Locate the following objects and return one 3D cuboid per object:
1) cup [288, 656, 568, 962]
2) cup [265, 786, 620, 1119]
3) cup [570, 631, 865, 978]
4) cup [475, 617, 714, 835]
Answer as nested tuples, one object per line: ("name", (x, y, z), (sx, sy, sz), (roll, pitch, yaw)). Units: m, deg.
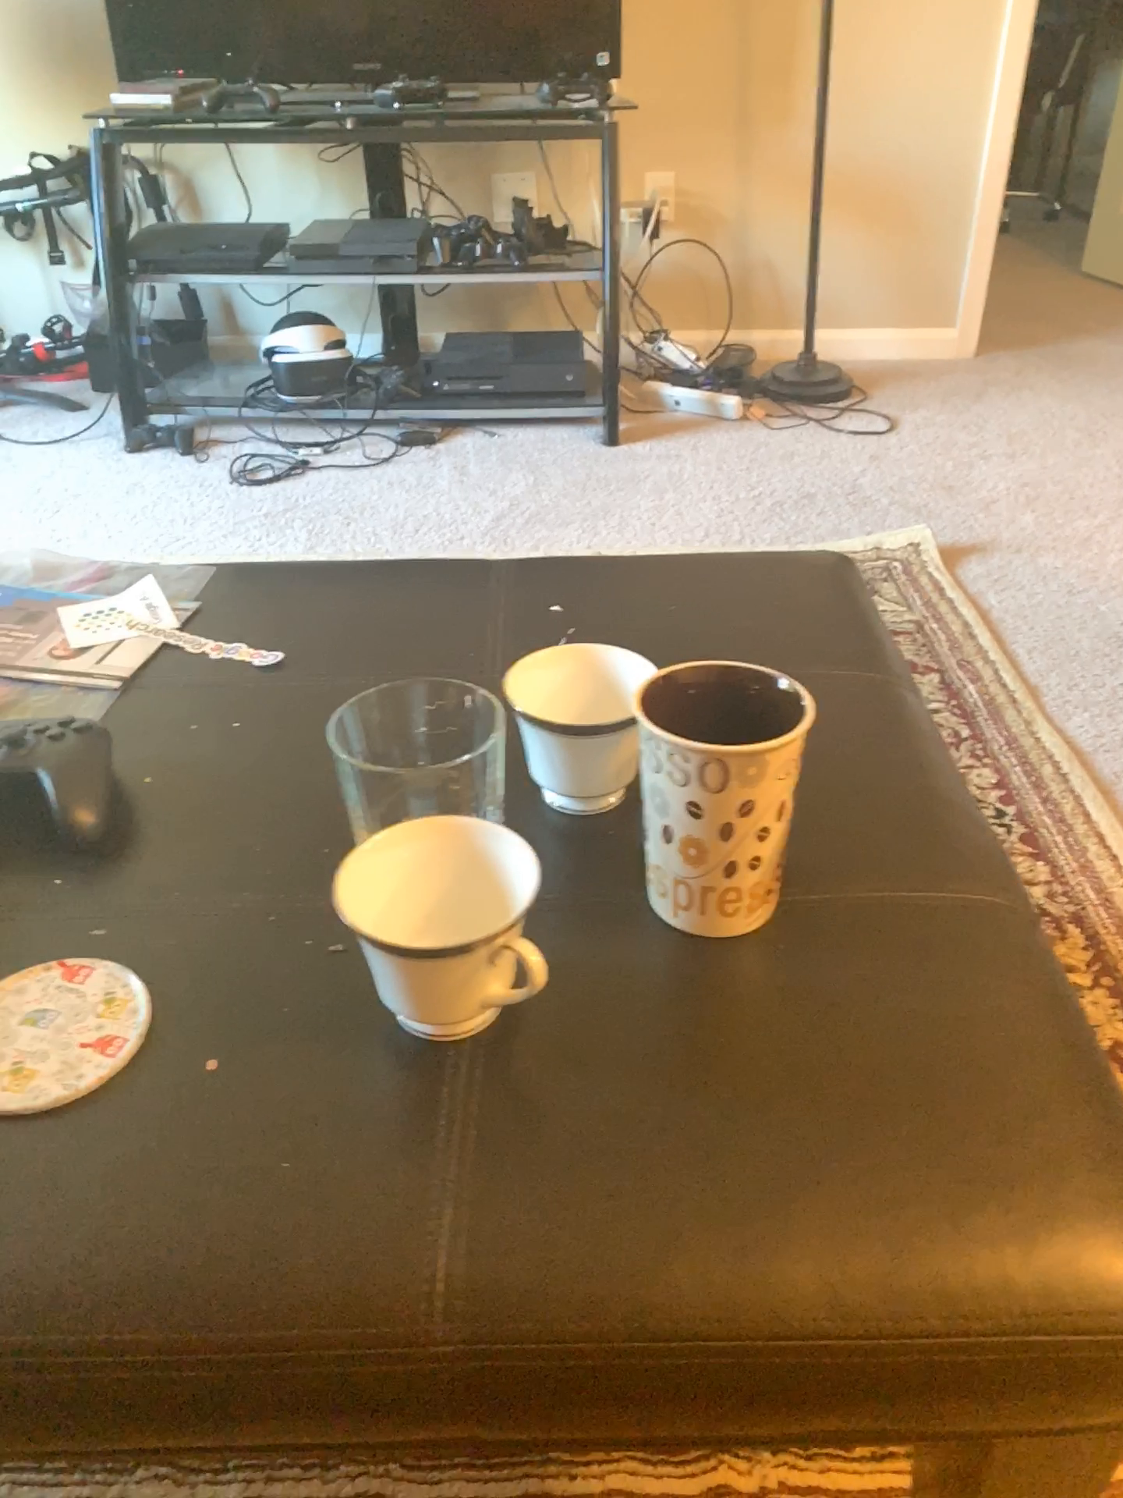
("cup", (-0.068, 0.028, 0.618), (0.100, 0.099, 0.100), (-1, 34, 1))
("cup", (-0.052, 0.086, 0.522), (0.120, 0.060, 0.100), (22, 41, 31))
("cup", (0.076, 0.023, 0.571), (0.100, 0.109, 0.100), (-1, 34, 1))
("cup", (0.017, -0.016, 0.658), (0.110, 0.070, 0.091), (-11, 35, -14))
